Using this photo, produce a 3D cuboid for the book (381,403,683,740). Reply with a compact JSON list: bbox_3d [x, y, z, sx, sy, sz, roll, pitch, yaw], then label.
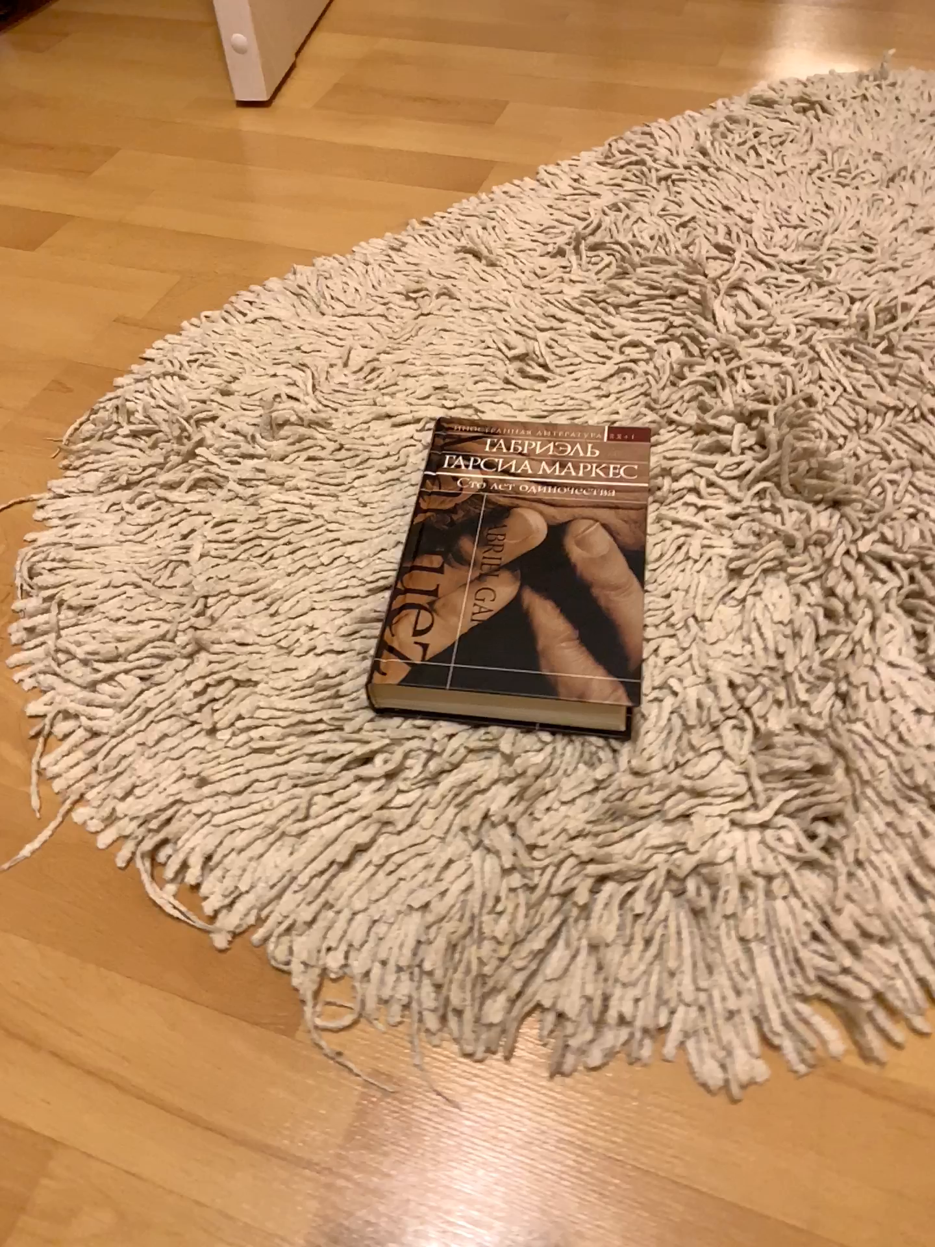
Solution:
[{"bbox_3d":[0.044,-0.040,0.523,0.140,0.030,0.212,5,51,8],"label":"book"}]
